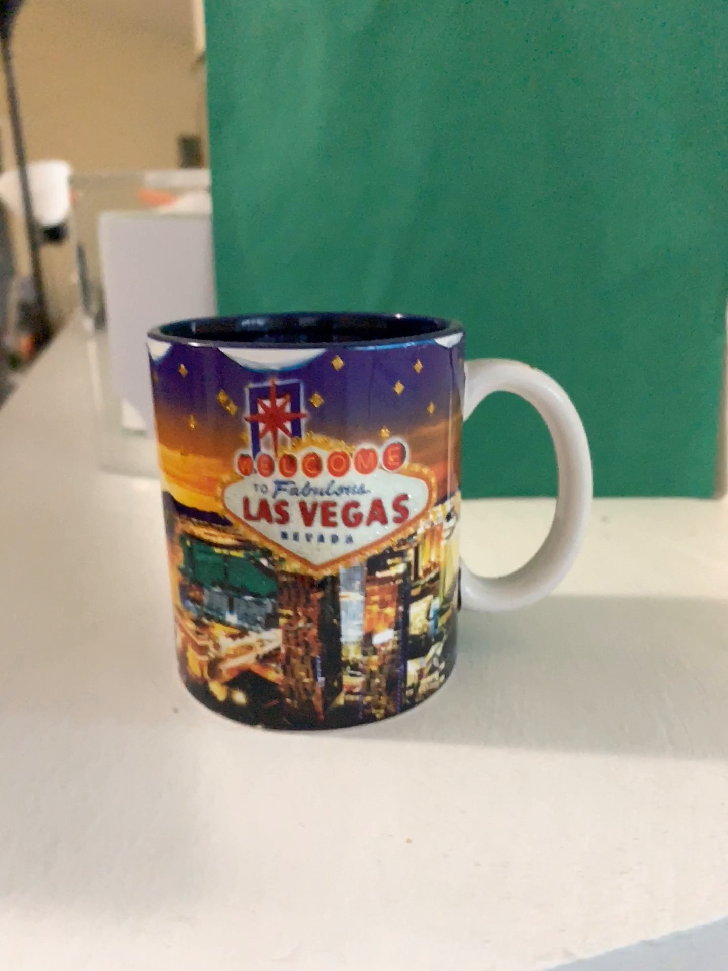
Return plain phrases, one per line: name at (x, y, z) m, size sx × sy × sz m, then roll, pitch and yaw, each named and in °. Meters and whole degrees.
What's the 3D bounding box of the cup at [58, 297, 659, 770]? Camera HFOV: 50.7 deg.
cup at (-0.001, 0.005, 0.206) m, size 0.120 × 0.100 × 0.080 m, roll -2°, pitch 18°, yaw -2°
